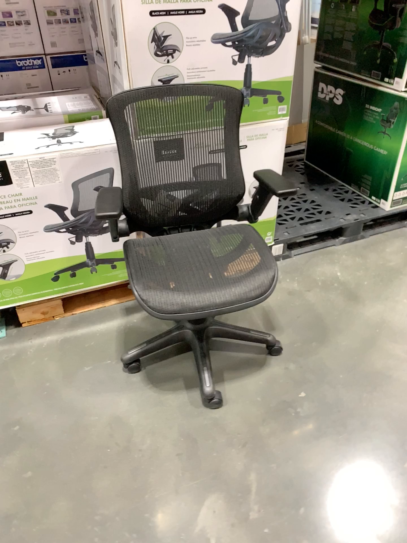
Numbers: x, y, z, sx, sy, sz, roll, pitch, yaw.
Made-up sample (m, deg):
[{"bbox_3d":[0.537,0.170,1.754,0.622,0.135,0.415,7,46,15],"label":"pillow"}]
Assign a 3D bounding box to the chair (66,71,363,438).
[{"bbox_3d":[-0.030,-0.087,1.495,0.675,0.987,0.739,-9,37,-10],"label":"chair"}]
